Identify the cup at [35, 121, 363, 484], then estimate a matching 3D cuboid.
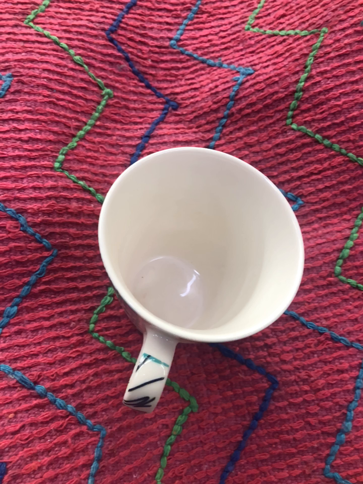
[{"bbox_3d":[0.009,0.028,0.185,0.090,0.080,0.110,21,75,-2],"label":"cup"}]
